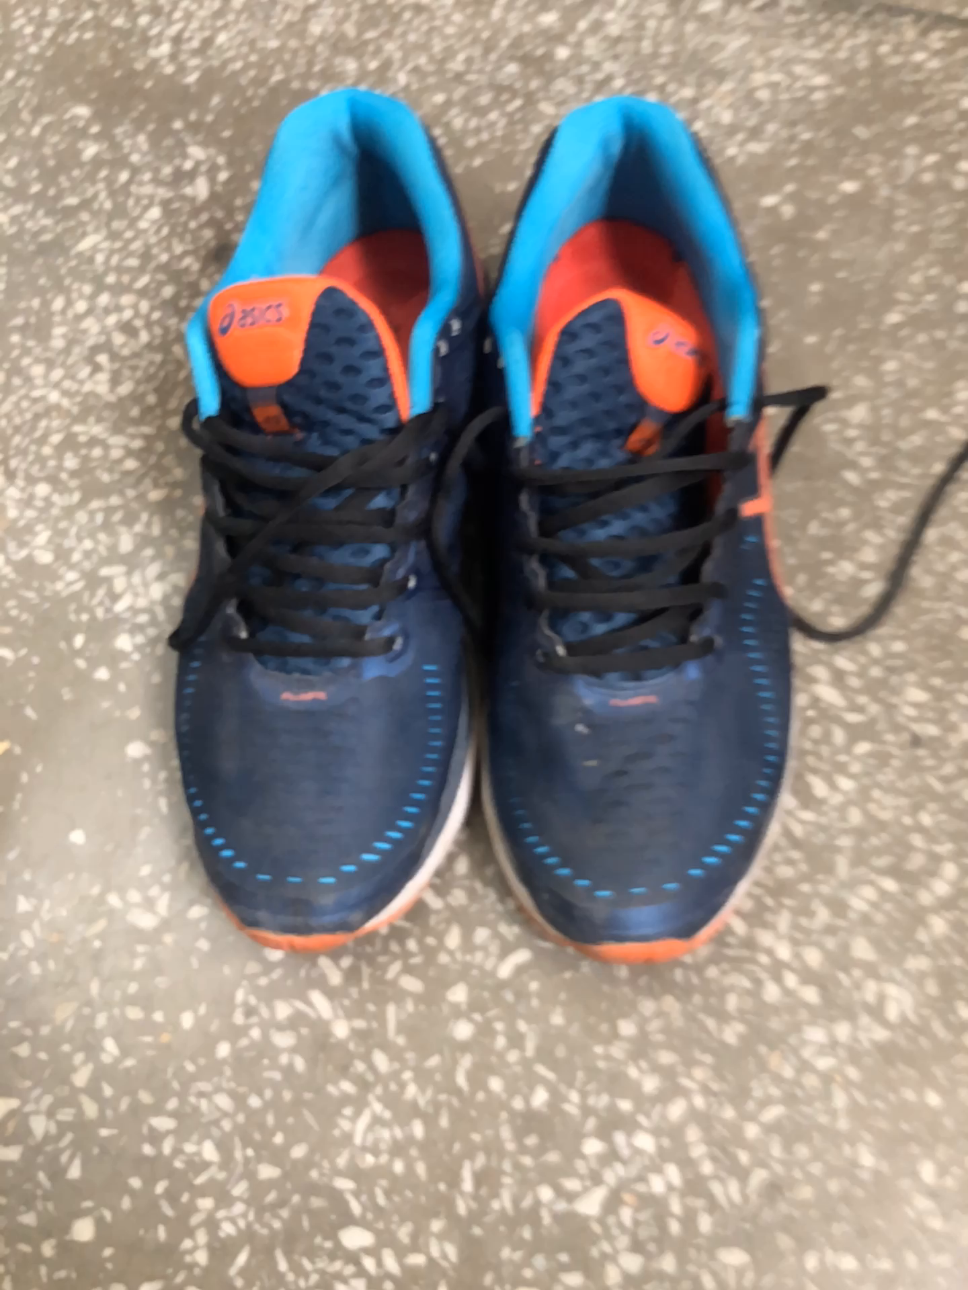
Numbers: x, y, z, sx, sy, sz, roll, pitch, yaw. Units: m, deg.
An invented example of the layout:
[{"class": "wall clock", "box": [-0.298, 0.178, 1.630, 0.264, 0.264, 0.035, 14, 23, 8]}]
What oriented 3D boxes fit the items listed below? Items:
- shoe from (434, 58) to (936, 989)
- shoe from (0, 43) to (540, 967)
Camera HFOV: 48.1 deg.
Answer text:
[{"class": "shoe", "box": [0.057, -0.045, 0.357, 0.118, 0.100, 0.288, 3, 67, 3]}, {"class": "shoe", "box": [-0.052, -0.052, 0.363, 0.118, 0.100, 0.288, 4, 67, 3]}]
